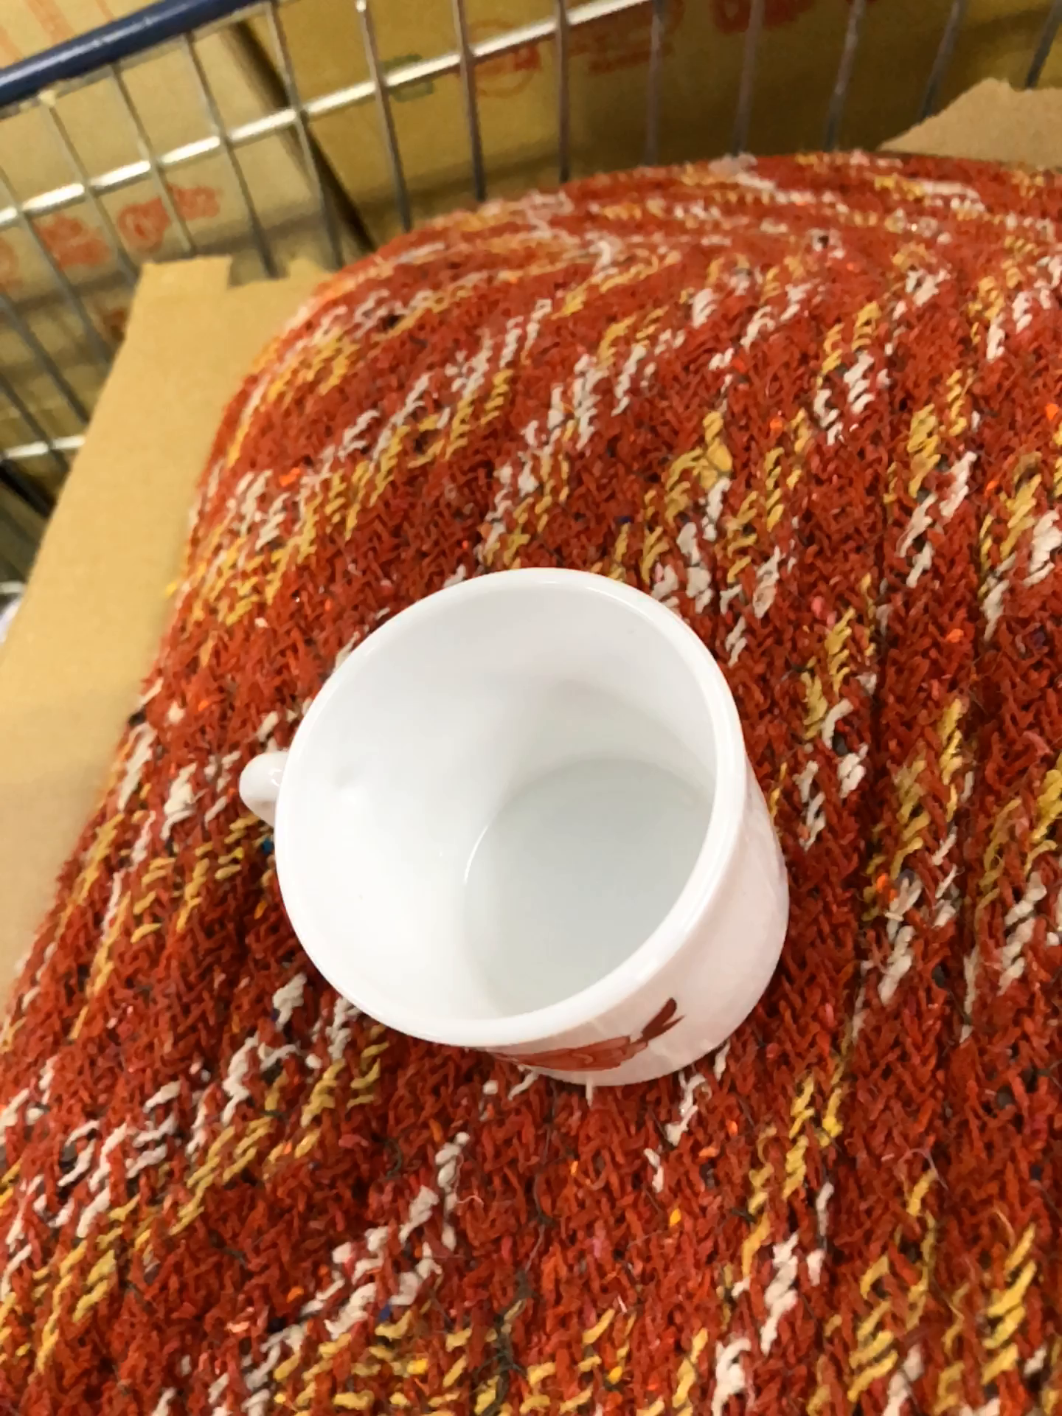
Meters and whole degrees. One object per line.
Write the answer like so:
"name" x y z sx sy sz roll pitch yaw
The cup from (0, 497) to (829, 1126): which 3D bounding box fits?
"cup" -0.012 0.013 0.169 0.090 0.060 0.060 6 67 24
